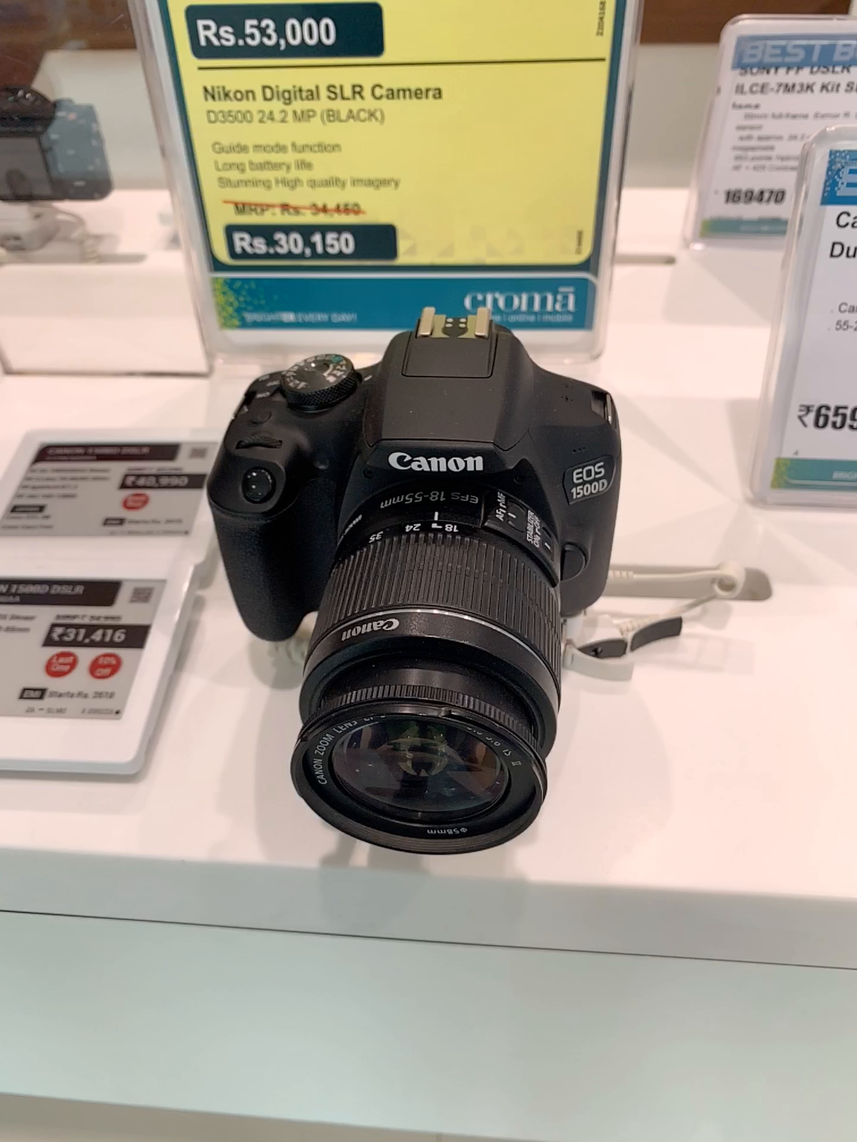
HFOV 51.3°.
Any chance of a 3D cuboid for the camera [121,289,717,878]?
[{"bbox_3d":[0.005,-0.005,0.242,0.110,0.090,0.130,3,42,6],"label":"camera"}]
